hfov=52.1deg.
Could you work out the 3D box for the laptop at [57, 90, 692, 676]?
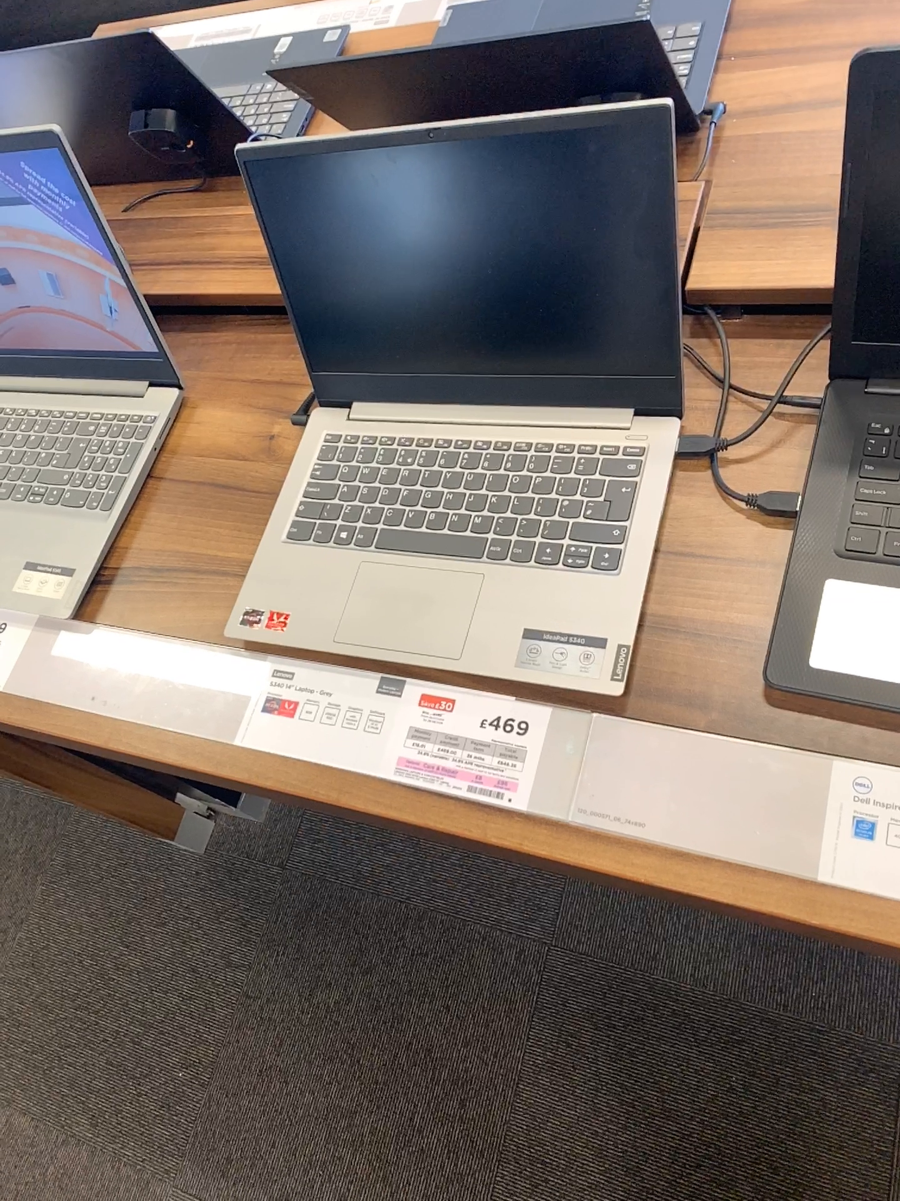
[{"bbox_3d":[-0.026,-0.147,0.636,0.316,0.200,0.295,7,65,24],"label":"laptop"}]
